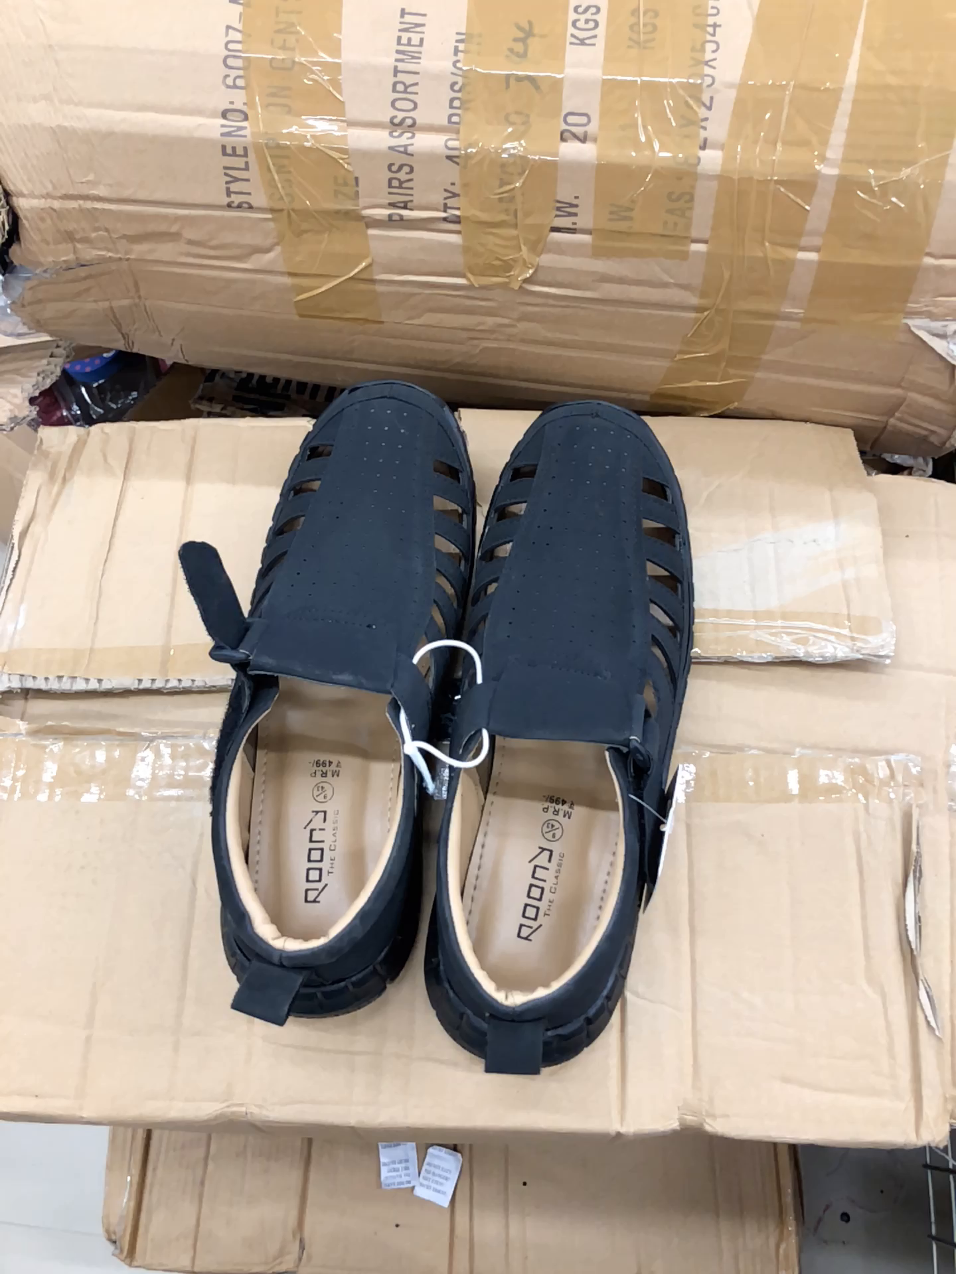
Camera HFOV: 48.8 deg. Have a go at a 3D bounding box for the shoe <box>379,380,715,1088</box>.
[{"bbox_3d":[0.035,0.038,0.446,0.100,0.100,0.271,7,67,3],"label":"shoe"}]

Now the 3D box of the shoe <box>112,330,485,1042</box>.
[{"bbox_3d":[-0.059,0.017,0.447,0.110,0.100,0.281,2,67,1],"label":"shoe"}]
